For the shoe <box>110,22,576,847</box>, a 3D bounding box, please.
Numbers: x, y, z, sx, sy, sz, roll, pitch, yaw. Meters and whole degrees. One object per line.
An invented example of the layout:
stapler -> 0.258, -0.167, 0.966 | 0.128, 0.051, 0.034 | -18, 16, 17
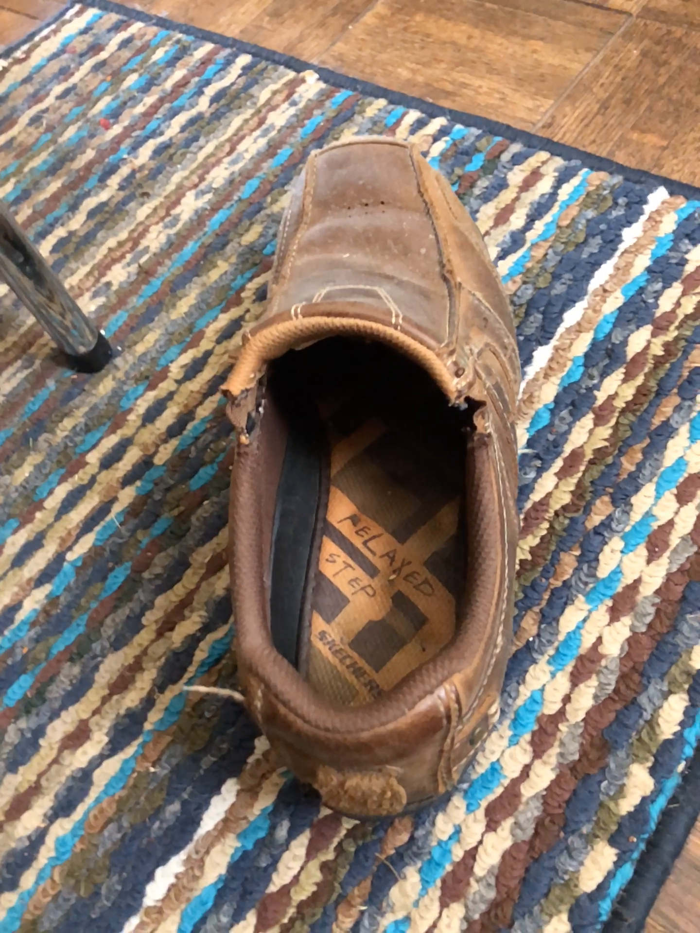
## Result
shoe -> 0.008, -0.025, 0.279 | 0.100, 0.100, 0.280 | -2, 59, 8
